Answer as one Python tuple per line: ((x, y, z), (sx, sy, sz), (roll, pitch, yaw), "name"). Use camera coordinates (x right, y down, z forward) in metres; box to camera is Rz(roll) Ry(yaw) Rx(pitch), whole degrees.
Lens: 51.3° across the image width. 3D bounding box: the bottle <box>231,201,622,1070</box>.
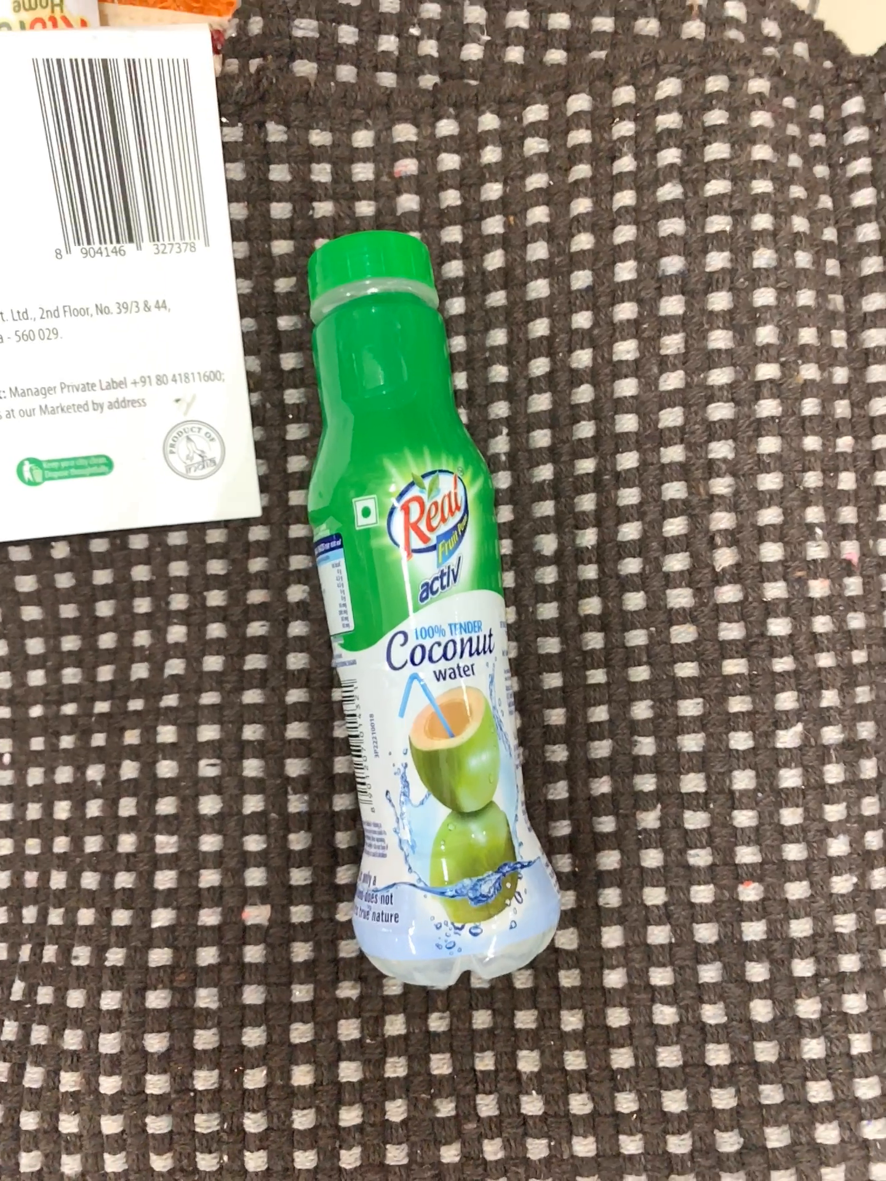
((-0.004, 0.009, 0.206), (0.060, 0.040, 0.170), (-7, 94, -9), "bottle")
